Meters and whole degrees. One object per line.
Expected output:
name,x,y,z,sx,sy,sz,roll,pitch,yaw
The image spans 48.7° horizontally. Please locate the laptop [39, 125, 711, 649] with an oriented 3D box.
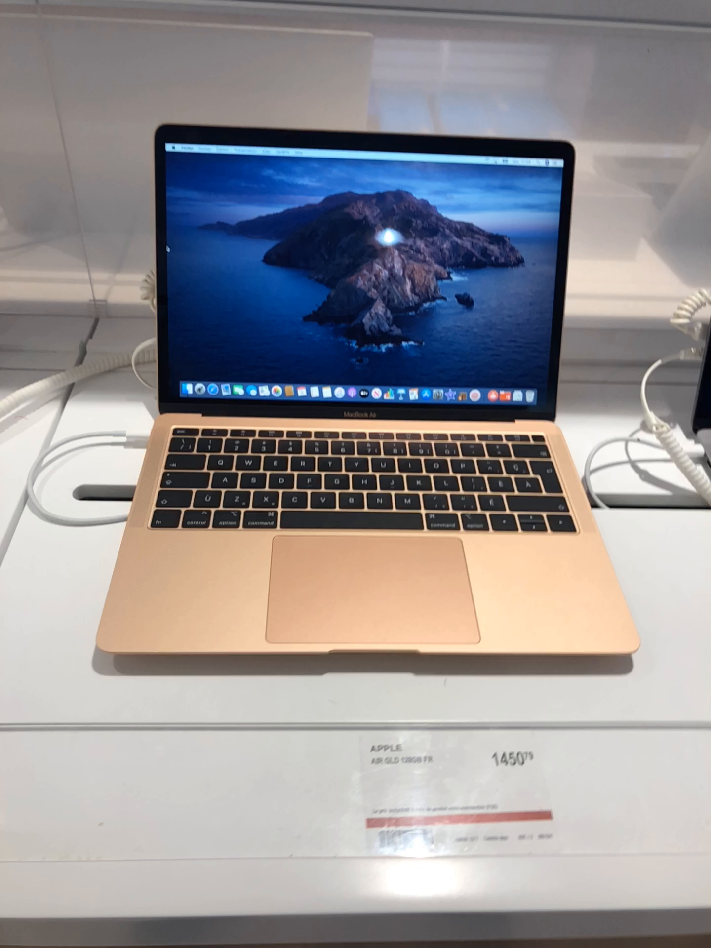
laptop,0.009,-0.070,0.490,0.291,0.170,0.305,1,42,-4
